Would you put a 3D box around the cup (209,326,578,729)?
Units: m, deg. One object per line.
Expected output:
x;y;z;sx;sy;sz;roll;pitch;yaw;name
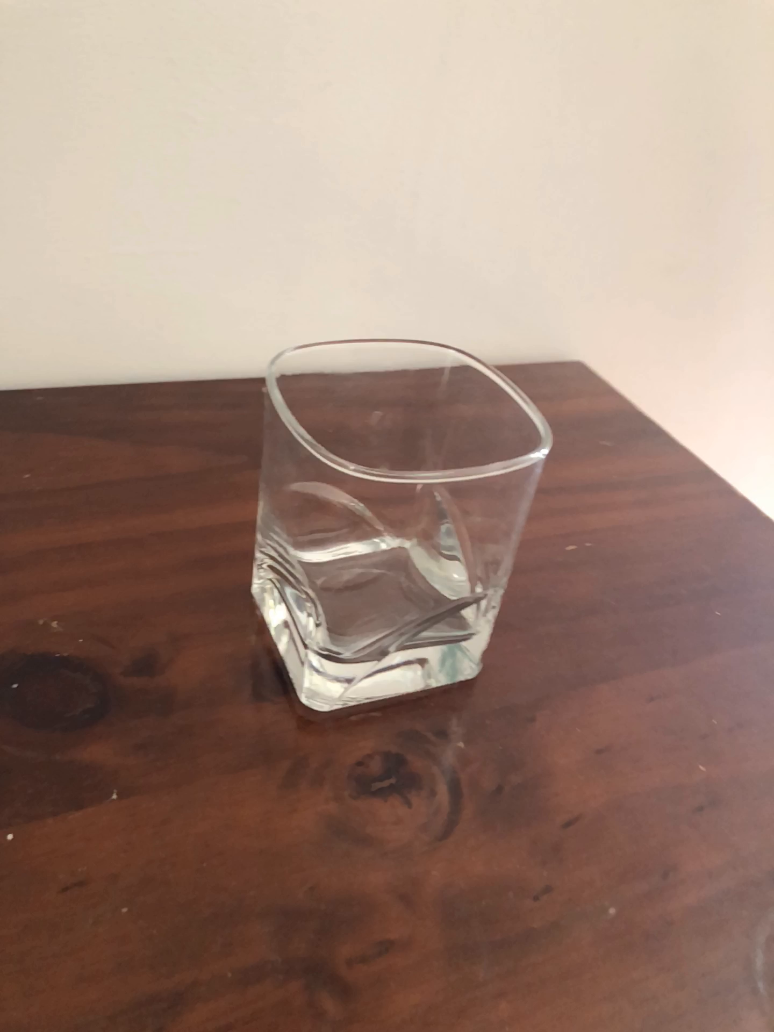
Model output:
-0.006;-0.001;0.264;0.078;0.087;0.076;7;34;-5;cup
